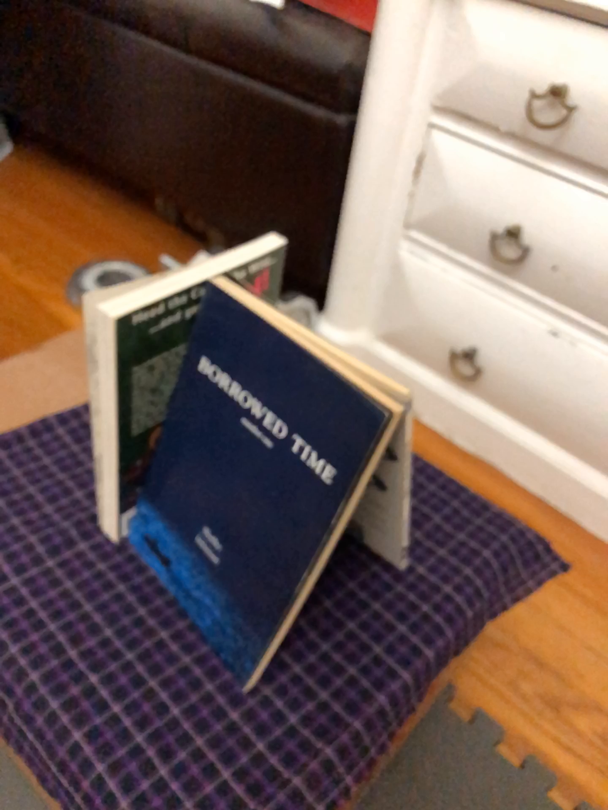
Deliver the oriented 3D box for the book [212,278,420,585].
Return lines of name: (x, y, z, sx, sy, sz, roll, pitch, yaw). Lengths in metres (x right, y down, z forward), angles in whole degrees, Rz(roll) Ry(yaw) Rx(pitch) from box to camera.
book: (0.012, 0.026, 0.435, 0.140, 0.199, 0.010, 35, 64, 29)

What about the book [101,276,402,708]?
book: (-0.046, 0.050, 0.398, 0.150, 0.199, 0.010, 38, 26, 30)

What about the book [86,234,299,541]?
book: (-0.077, -0.008, 0.453, 0.020, 0.189, 0.141, 39, 47, 22)
